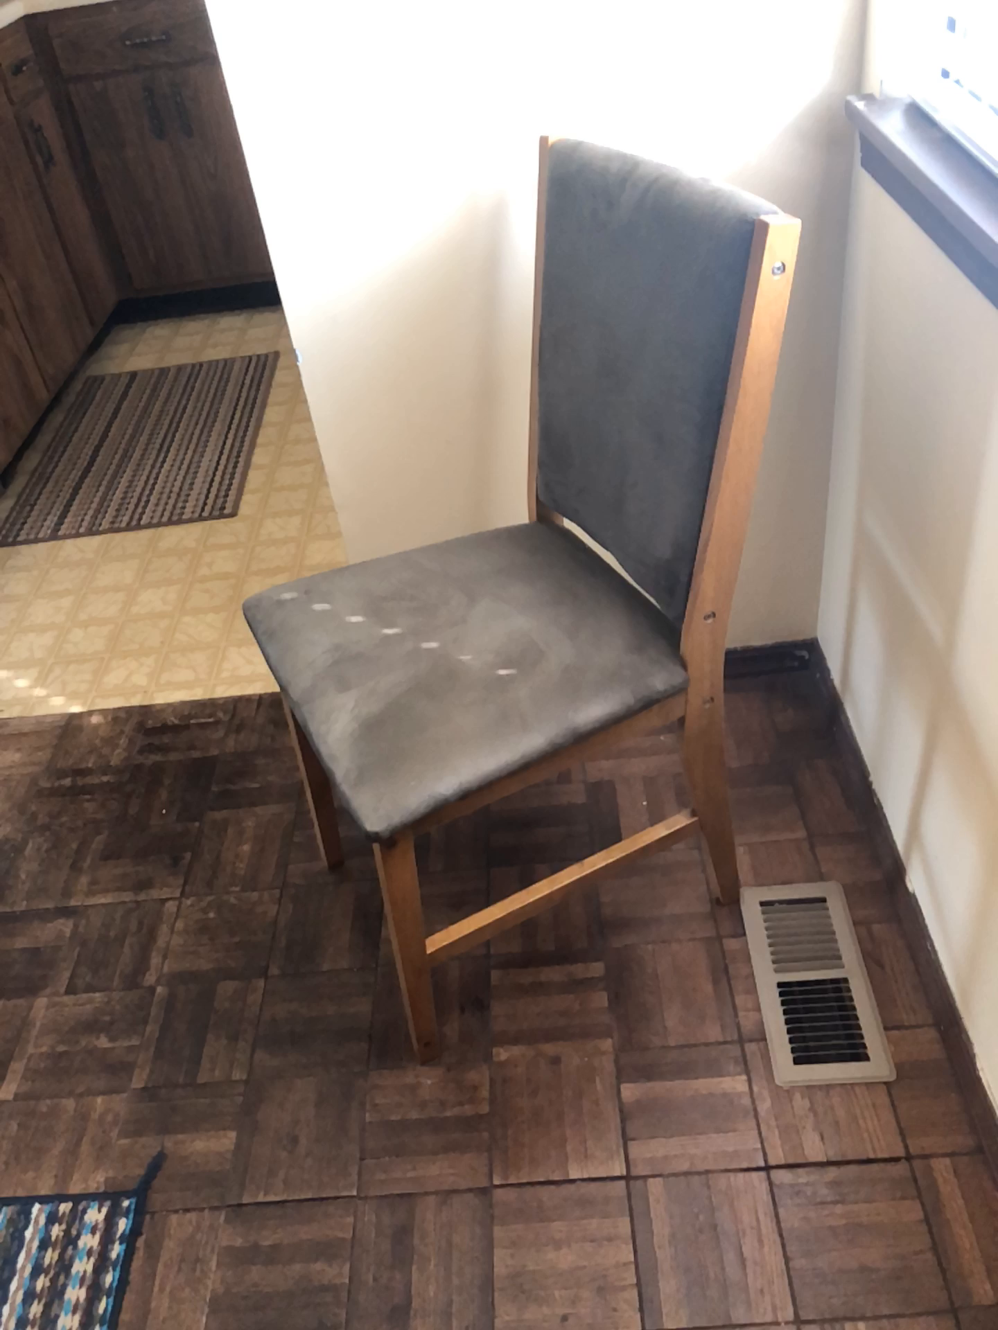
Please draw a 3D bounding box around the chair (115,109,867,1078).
[{"bbox_3d":[-0.015,-0.079,1.242,0.510,0.858,0.491,-19,40,-18],"label":"chair"}]
